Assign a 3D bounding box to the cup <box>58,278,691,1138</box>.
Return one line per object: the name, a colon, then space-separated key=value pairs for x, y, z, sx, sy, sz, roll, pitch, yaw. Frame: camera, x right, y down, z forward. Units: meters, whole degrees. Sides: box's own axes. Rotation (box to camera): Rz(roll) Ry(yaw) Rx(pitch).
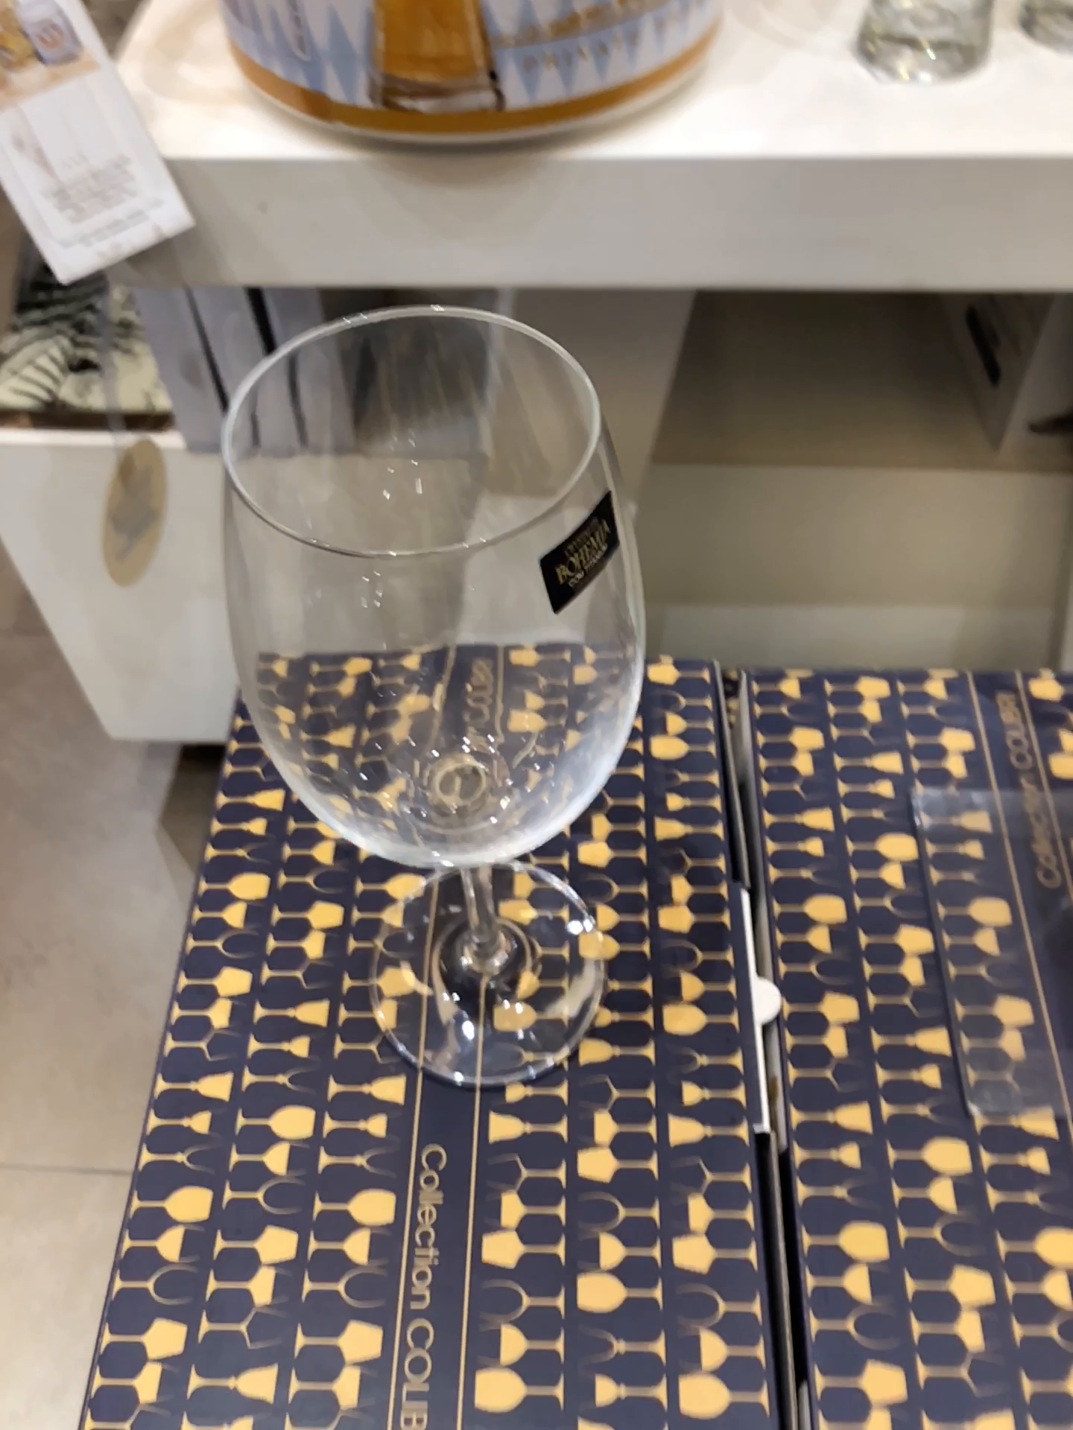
cup: x=-0.018 y=0.017 z=0.285 sx=0.090 sy=0.209 sz=0.091 roll=-1 pitch=53 yaw=1
